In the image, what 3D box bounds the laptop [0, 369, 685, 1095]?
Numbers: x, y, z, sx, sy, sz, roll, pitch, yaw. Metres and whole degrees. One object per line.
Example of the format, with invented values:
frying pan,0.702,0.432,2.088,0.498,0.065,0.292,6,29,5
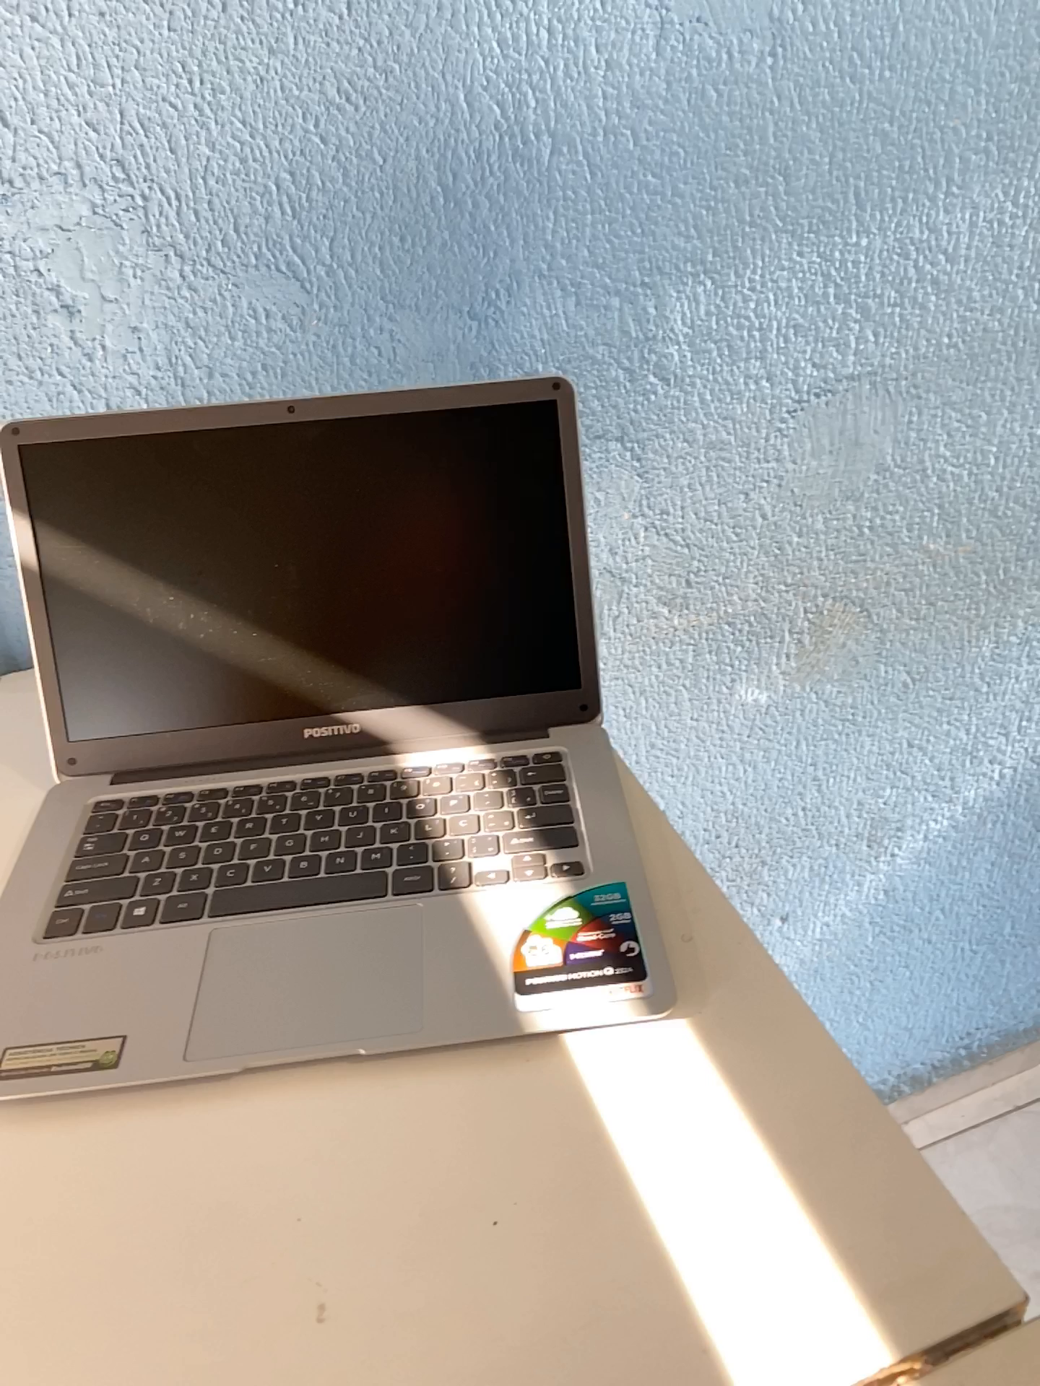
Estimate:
laptop,-0.117,-0.010,0.546,0.333,0.189,0.313,-6,34,-3
